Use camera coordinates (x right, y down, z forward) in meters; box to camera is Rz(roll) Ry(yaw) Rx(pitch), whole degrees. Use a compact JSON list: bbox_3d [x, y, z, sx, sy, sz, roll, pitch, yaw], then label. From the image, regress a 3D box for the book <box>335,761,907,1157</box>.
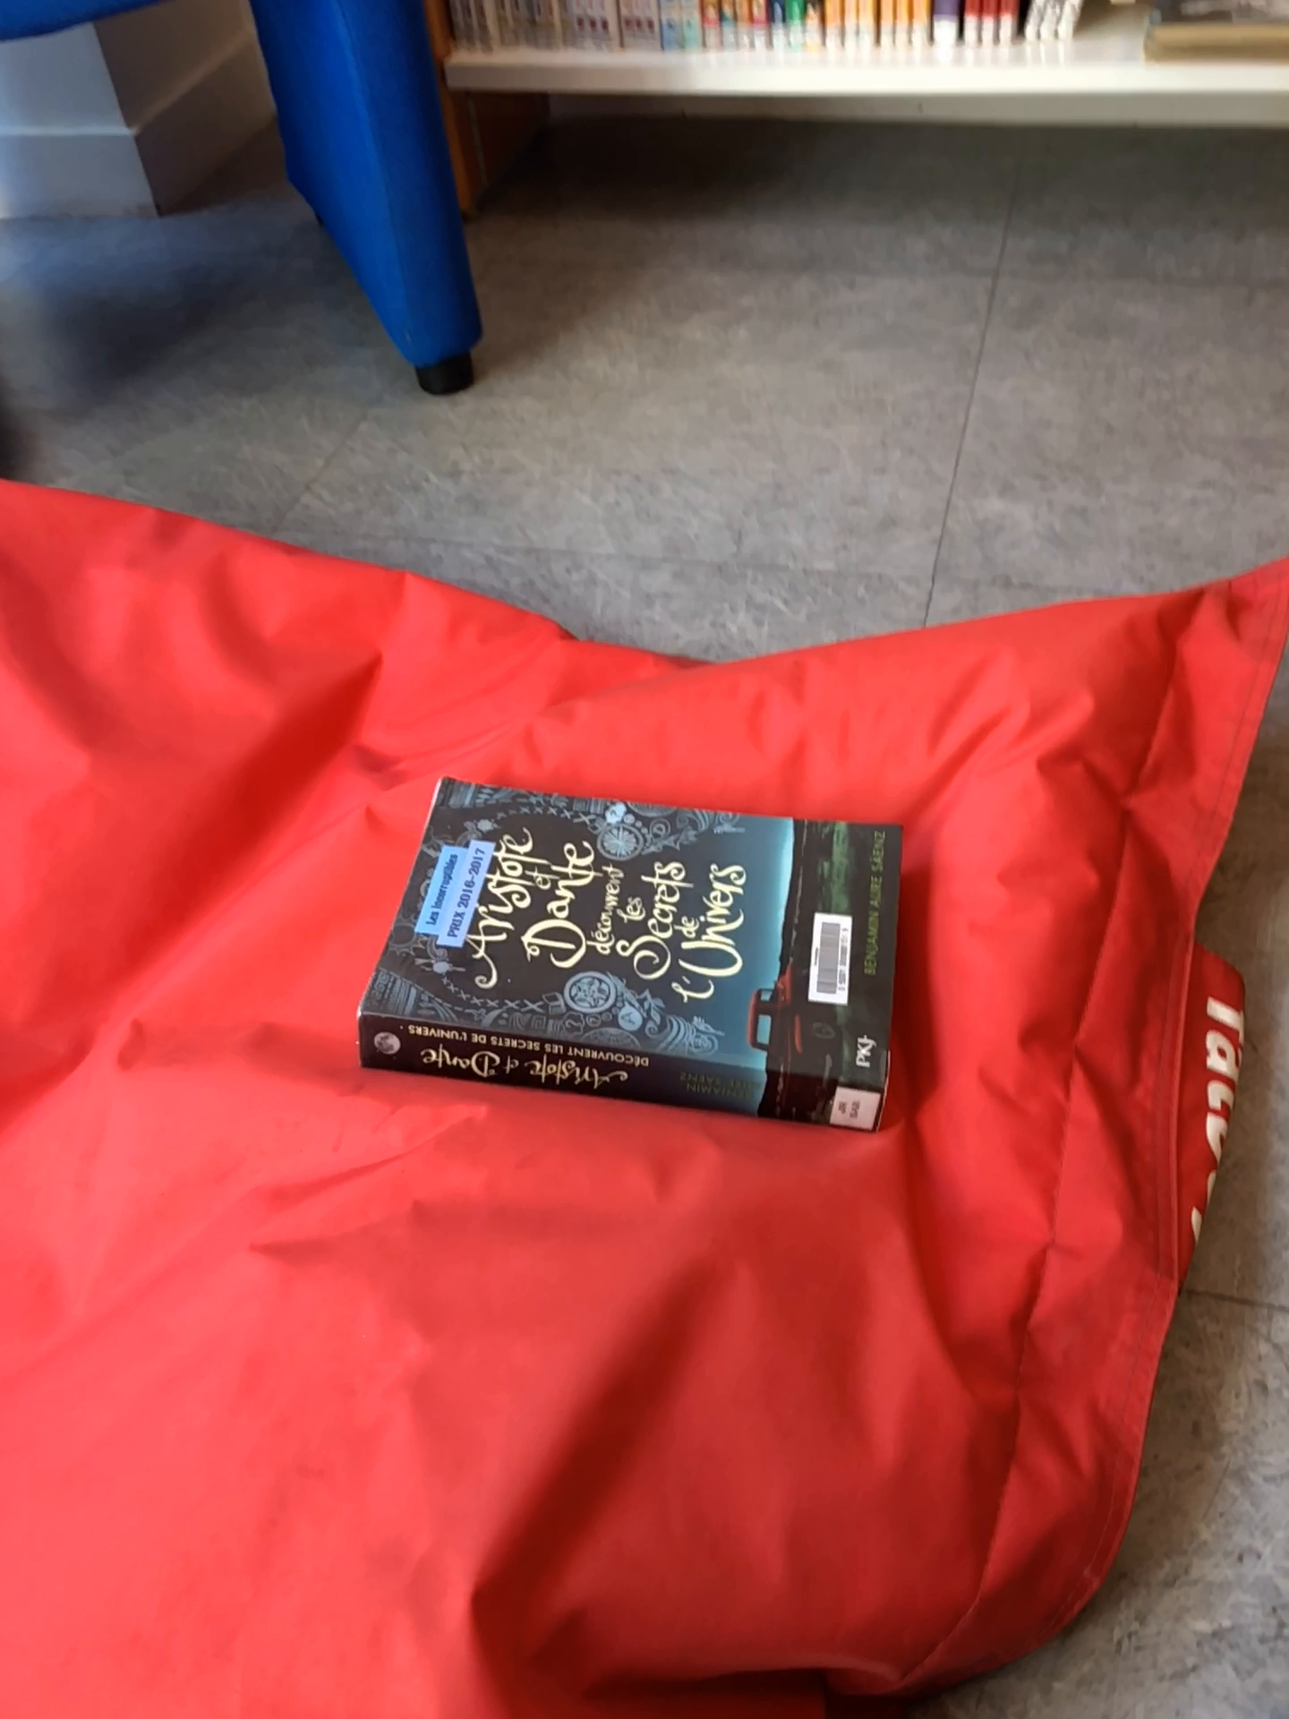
[{"bbox_3d":[-0.003,0.039,0.635,0.228,0.048,0.149,7,52,5],"label":"book"}]
